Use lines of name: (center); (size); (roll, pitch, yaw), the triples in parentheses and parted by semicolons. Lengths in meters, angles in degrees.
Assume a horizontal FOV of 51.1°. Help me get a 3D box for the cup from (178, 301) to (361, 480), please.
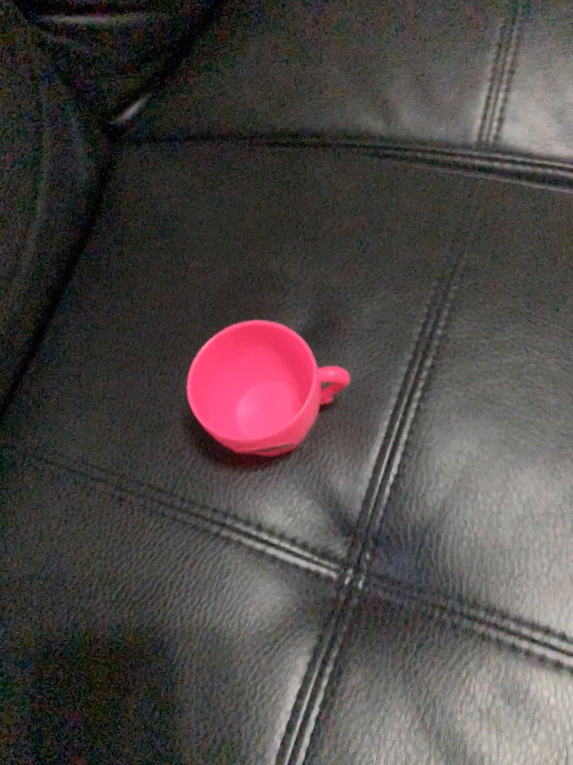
cup: (-0.007, 0.006, 0.281); (0.073, 0.047, 0.061); (-7, 63, 9)
